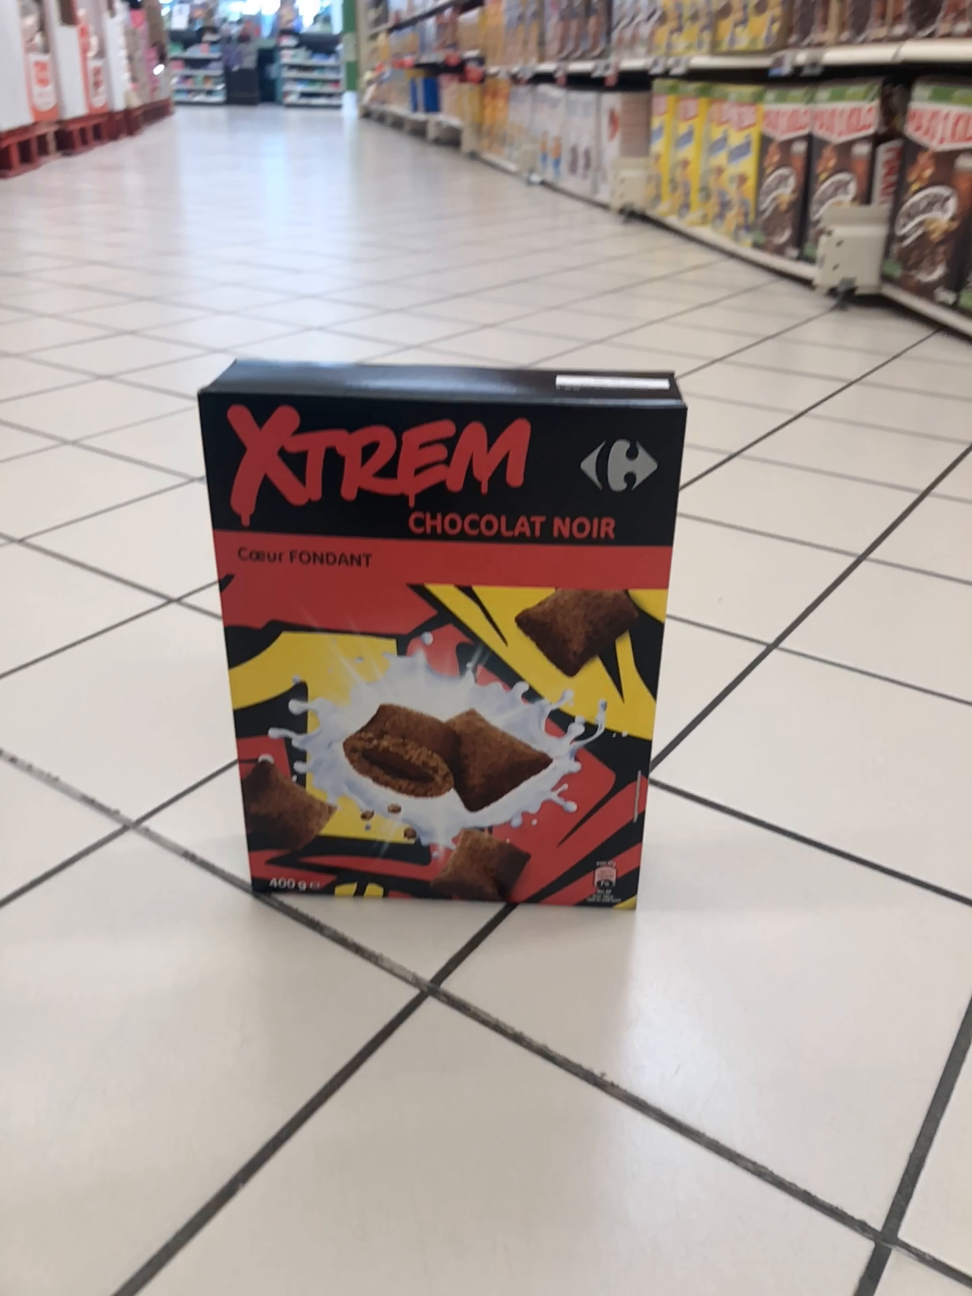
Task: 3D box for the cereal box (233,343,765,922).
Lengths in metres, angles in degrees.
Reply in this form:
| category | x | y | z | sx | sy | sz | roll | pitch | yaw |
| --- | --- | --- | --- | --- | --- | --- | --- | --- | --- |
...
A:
| category | x | y | z | sx | sy | sz | roll | pitch | yaw |
| --- | --- | --- | --- | --- | --- | --- | --- | --- | --- |
| cereal box | 0.004 | -0.002 | 0.489 | 0.200 | 0.249 | 0.070 | 3 | 27 | 3 |
